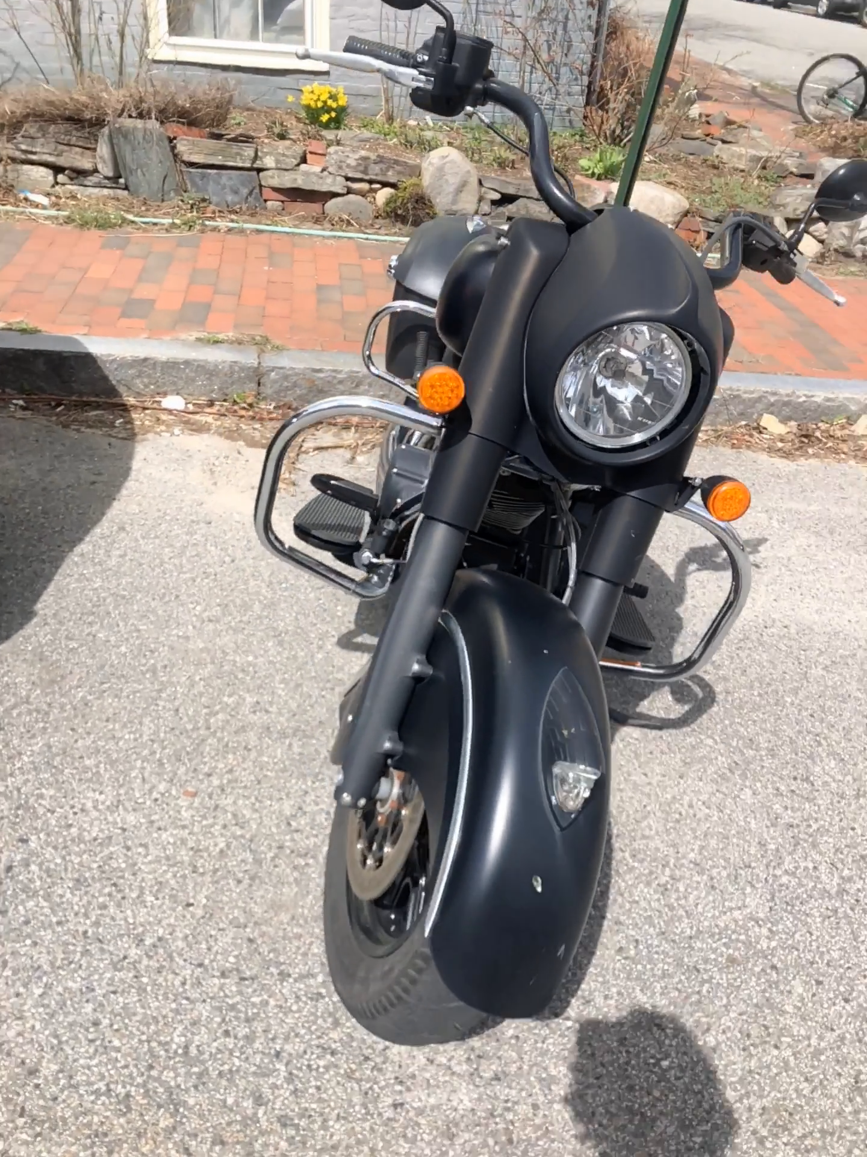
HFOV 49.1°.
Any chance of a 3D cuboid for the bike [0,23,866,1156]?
[{"bbox_3d":[0.100,-0.244,1.890,0.856,1.301,2.102,4,33,0],"label":"bike"}]
